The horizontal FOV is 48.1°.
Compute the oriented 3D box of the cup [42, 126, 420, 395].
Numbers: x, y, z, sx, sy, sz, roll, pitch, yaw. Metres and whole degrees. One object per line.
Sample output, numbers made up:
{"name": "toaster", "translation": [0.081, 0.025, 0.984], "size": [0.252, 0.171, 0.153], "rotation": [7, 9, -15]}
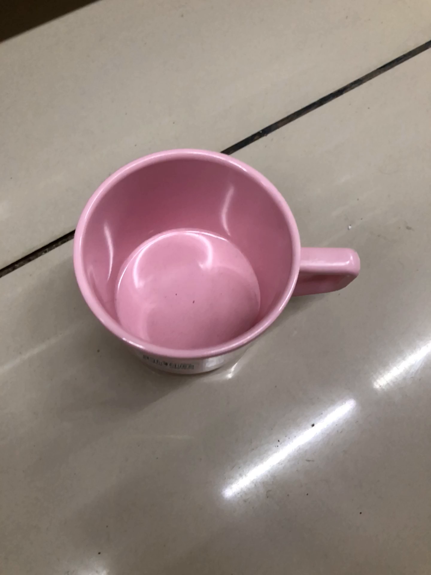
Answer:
{"name": "cup", "translation": [0.003, -0.003, 0.191], "size": [0.110, 0.080, 0.080], "rotation": [0, 71, -4]}
